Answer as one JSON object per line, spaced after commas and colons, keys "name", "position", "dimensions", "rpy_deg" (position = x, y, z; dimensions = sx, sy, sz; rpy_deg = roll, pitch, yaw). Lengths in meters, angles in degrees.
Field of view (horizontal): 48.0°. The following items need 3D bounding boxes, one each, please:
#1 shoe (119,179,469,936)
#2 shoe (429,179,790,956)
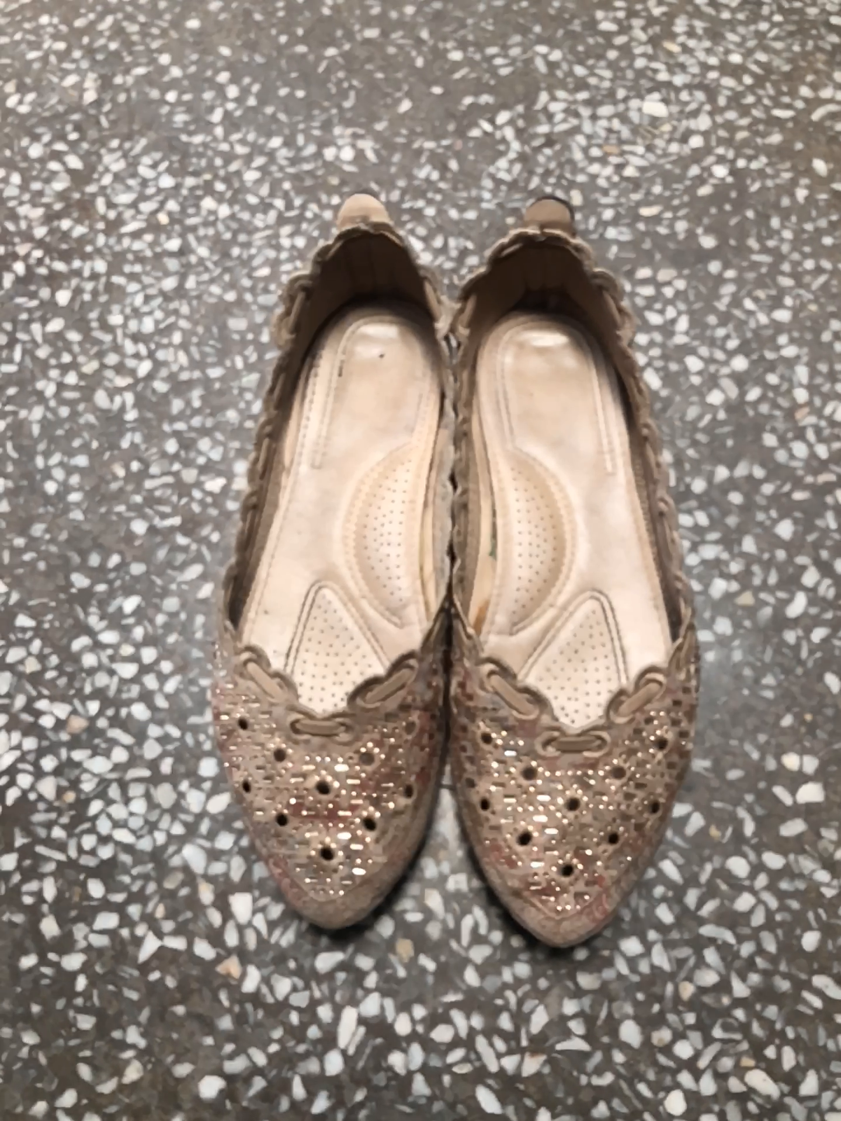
{"name": "shoe", "position": [-0.031, -0.008, 0.332], "dimensions": [0.089, 0.068, 0.255], "rpy_deg": [2, 70, 2]}
{"name": "shoe", "position": [0.051, -0.004, 0.325], "dimensions": [0.089, 0.068, 0.255], "rpy_deg": [-2, 69, 1]}
